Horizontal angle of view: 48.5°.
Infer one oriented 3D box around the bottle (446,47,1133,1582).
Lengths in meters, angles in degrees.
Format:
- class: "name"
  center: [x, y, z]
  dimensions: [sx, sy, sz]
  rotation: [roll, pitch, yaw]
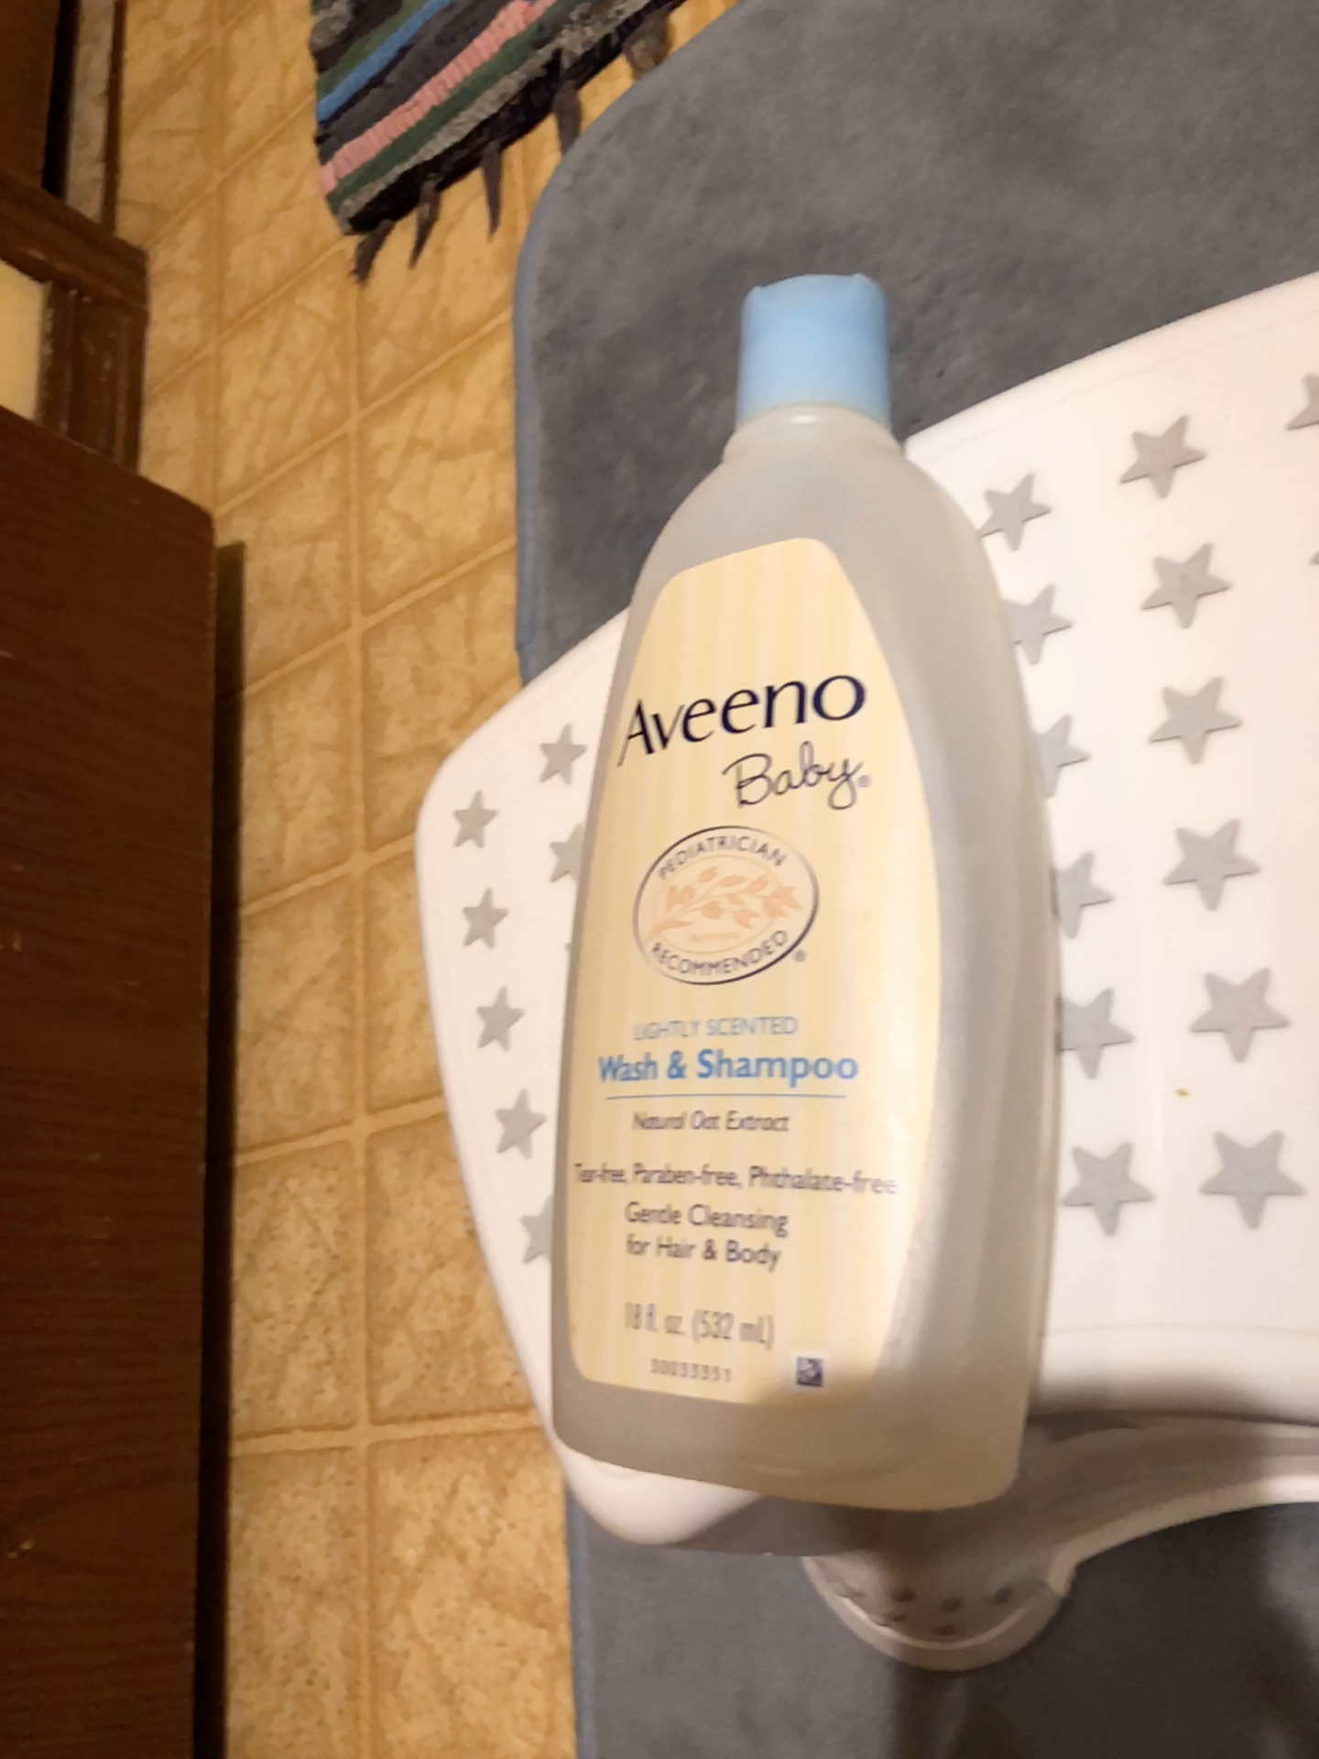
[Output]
- class: "bottle"
  center: [0.027, -0.016, 0.263]
  dimensions: [0.100, 0.040, 0.240]
  rotation: [-7, 71, 38]
